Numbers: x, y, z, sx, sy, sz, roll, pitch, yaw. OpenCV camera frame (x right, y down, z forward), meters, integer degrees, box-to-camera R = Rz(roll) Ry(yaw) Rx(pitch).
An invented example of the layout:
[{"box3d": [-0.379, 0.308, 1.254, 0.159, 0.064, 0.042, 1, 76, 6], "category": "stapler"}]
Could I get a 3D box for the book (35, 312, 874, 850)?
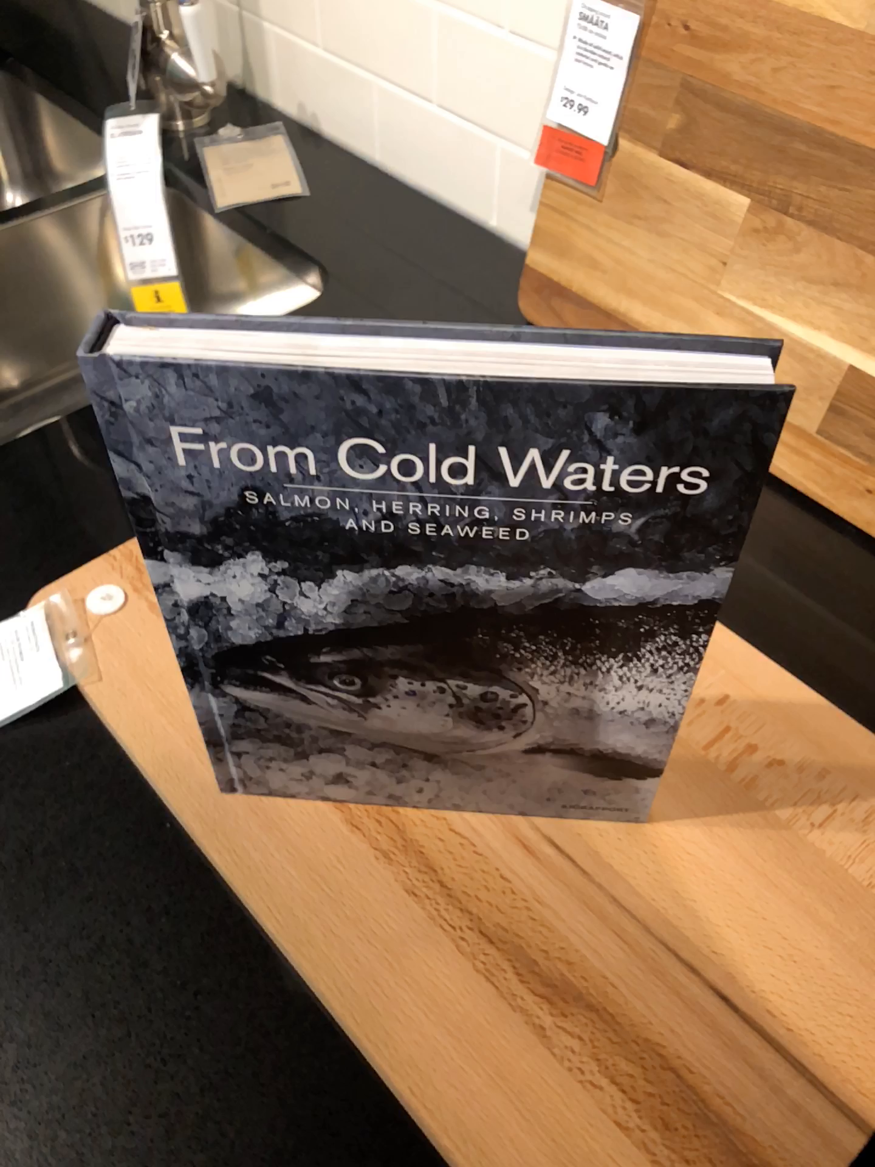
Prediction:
[{"box3d": [0.006, 0.018, 0.330, 0.213, 0.219, 0.029, 4, 48, 3], "category": "book"}]
